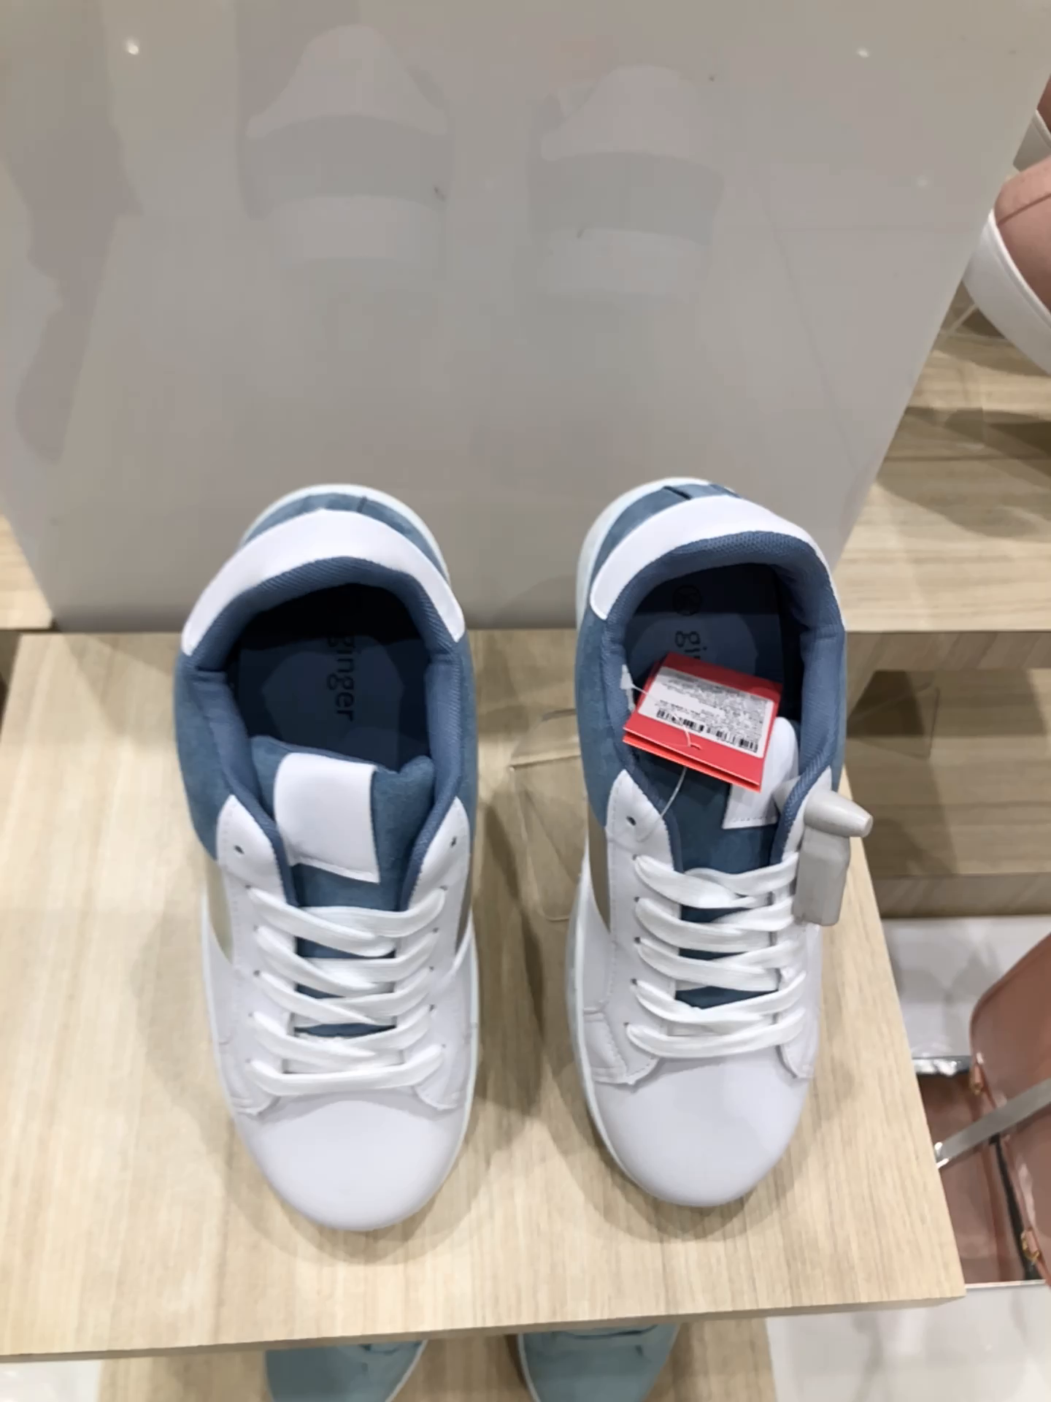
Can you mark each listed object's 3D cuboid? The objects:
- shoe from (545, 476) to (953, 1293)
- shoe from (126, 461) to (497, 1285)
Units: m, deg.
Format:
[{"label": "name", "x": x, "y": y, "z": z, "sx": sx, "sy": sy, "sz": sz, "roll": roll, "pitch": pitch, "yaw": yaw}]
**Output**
[{"label": "shoe", "x": 0.064, "y": 0.060, "z": 0.403, "sx": 0.100, "sy": 0.259, "sz": 0.090, "roll": 0, "pitch": 16, "yaw": -5}, {"label": "shoe", "x": -0.064, "y": 0.055, "z": 0.400, "sx": 0.100, "sy": 0.259, "sz": 0.090, "roll": 0, "pitch": 16, "yaw": -5}]
